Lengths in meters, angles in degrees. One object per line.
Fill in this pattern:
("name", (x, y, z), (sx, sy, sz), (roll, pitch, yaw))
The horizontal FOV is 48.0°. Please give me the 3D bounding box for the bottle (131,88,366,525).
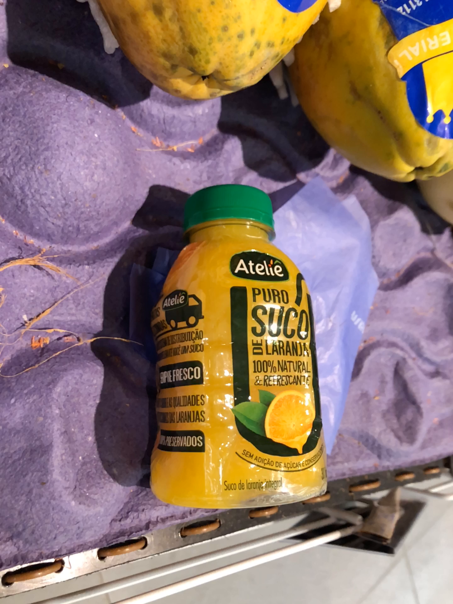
("bottle", (0.007, 0.002, 0.207), (0.070, 0.060, 0.140), (3, 84, -37))
